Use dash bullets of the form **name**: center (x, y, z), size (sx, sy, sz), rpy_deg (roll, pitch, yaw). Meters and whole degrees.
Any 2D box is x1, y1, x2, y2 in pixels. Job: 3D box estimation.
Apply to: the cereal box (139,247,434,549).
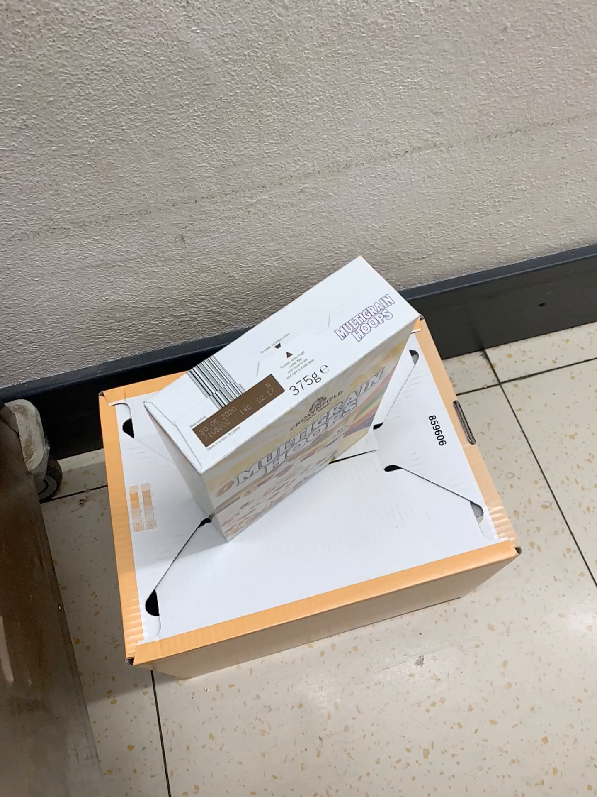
- **cereal box**: center (-0.010, 0.018, 0.528), size (0.200, 0.249, 0.070), rpy_deg (-36, 74, -16)
